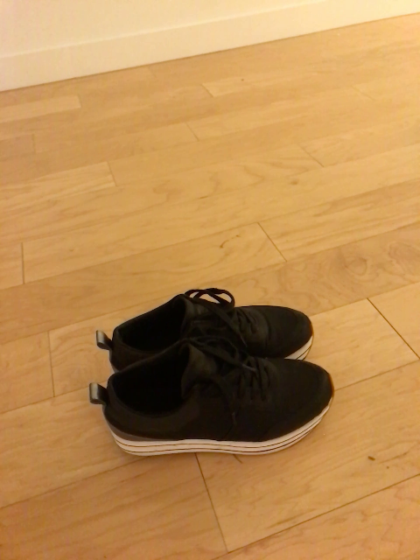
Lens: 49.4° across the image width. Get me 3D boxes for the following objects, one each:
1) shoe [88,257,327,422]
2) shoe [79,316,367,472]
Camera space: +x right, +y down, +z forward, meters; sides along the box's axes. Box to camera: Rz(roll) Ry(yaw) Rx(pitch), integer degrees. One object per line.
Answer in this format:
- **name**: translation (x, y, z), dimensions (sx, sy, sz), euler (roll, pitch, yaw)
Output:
- **shoe**: translation (-0.003, 0.079, 0.608), dimensions (0.280, 0.139, 0.101), euler (-11, 42, -5)
- **shoe**: translation (0.016, 0.137, 0.541), dimensions (0.290, 0.139, 0.101), euler (-4, 42, 2)
